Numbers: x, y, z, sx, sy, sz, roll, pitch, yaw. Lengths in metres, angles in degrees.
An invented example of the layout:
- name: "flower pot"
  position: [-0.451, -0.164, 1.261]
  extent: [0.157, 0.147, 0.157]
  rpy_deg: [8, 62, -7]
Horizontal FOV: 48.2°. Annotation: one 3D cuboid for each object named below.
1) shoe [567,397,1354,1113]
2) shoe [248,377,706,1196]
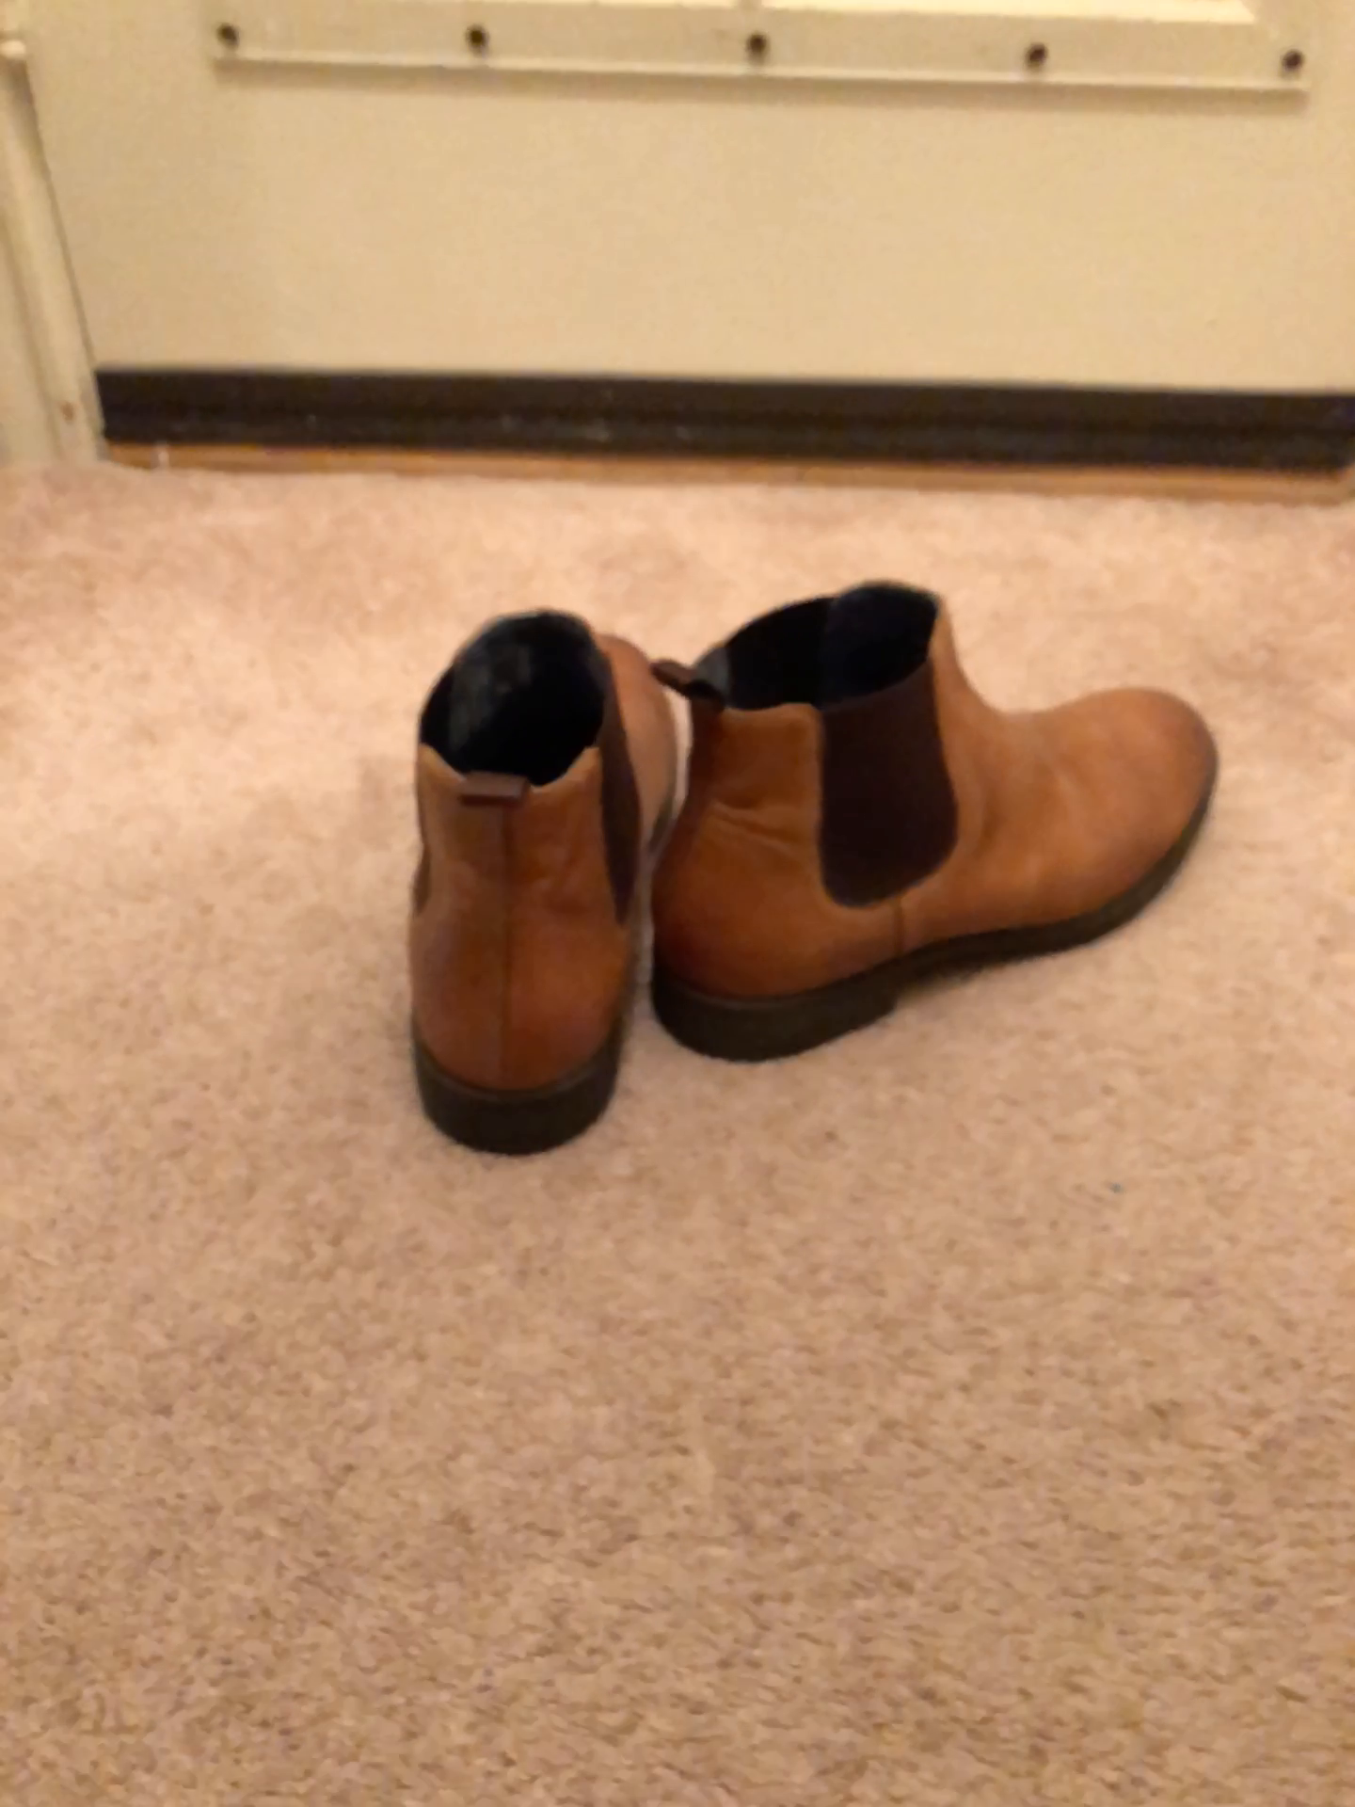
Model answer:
- name: "shoe"
  position: [0.122, -0.070, 0.594]
  extent: [0.313, 0.165, 0.109]
  rpy_deg: [-21, 45, -25]
- name: "shoe"
  position: [-0.056, -0.065, 0.599]
  extent: [0.109, 0.165, 0.314]
  rpy_deg: [4, 40, 3]
